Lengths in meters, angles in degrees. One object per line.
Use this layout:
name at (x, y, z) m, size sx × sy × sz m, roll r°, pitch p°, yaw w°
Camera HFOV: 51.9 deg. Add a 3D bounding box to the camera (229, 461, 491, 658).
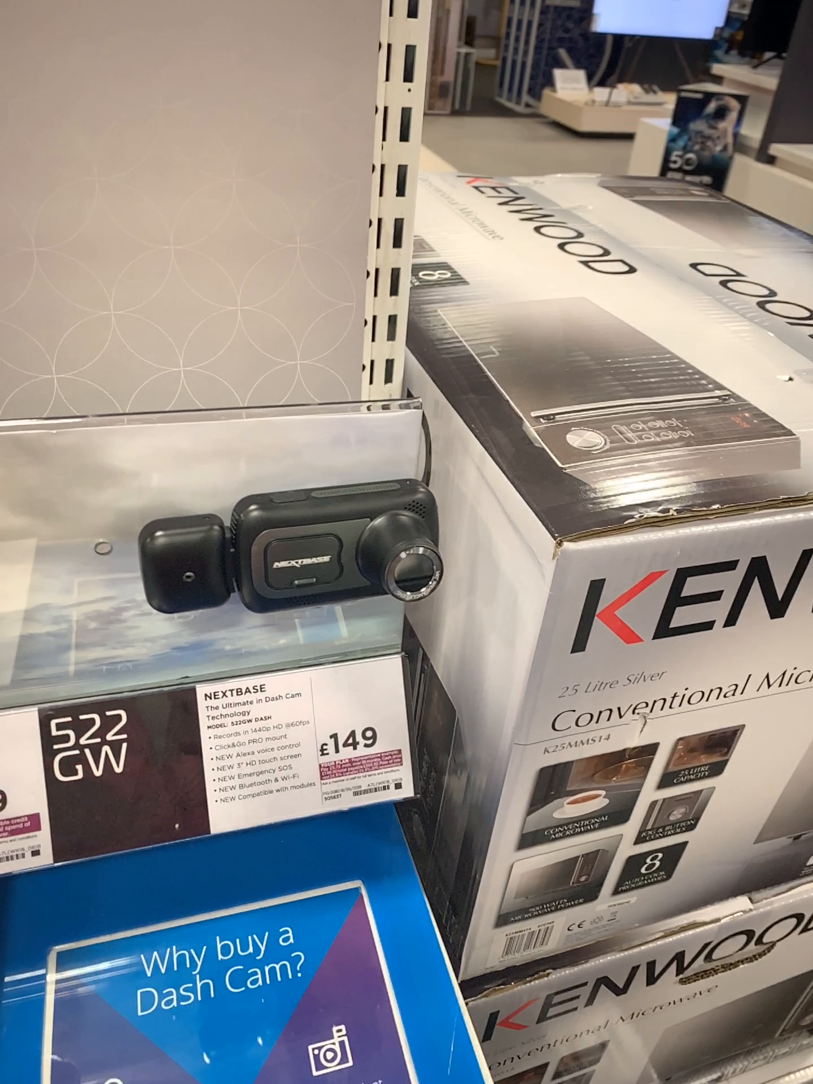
camera at (-0.022, 0.005, 0.374) m, size 0.100 × 0.050 × 0.060 m, roll -9°, pitch 33°, yaw -19°
